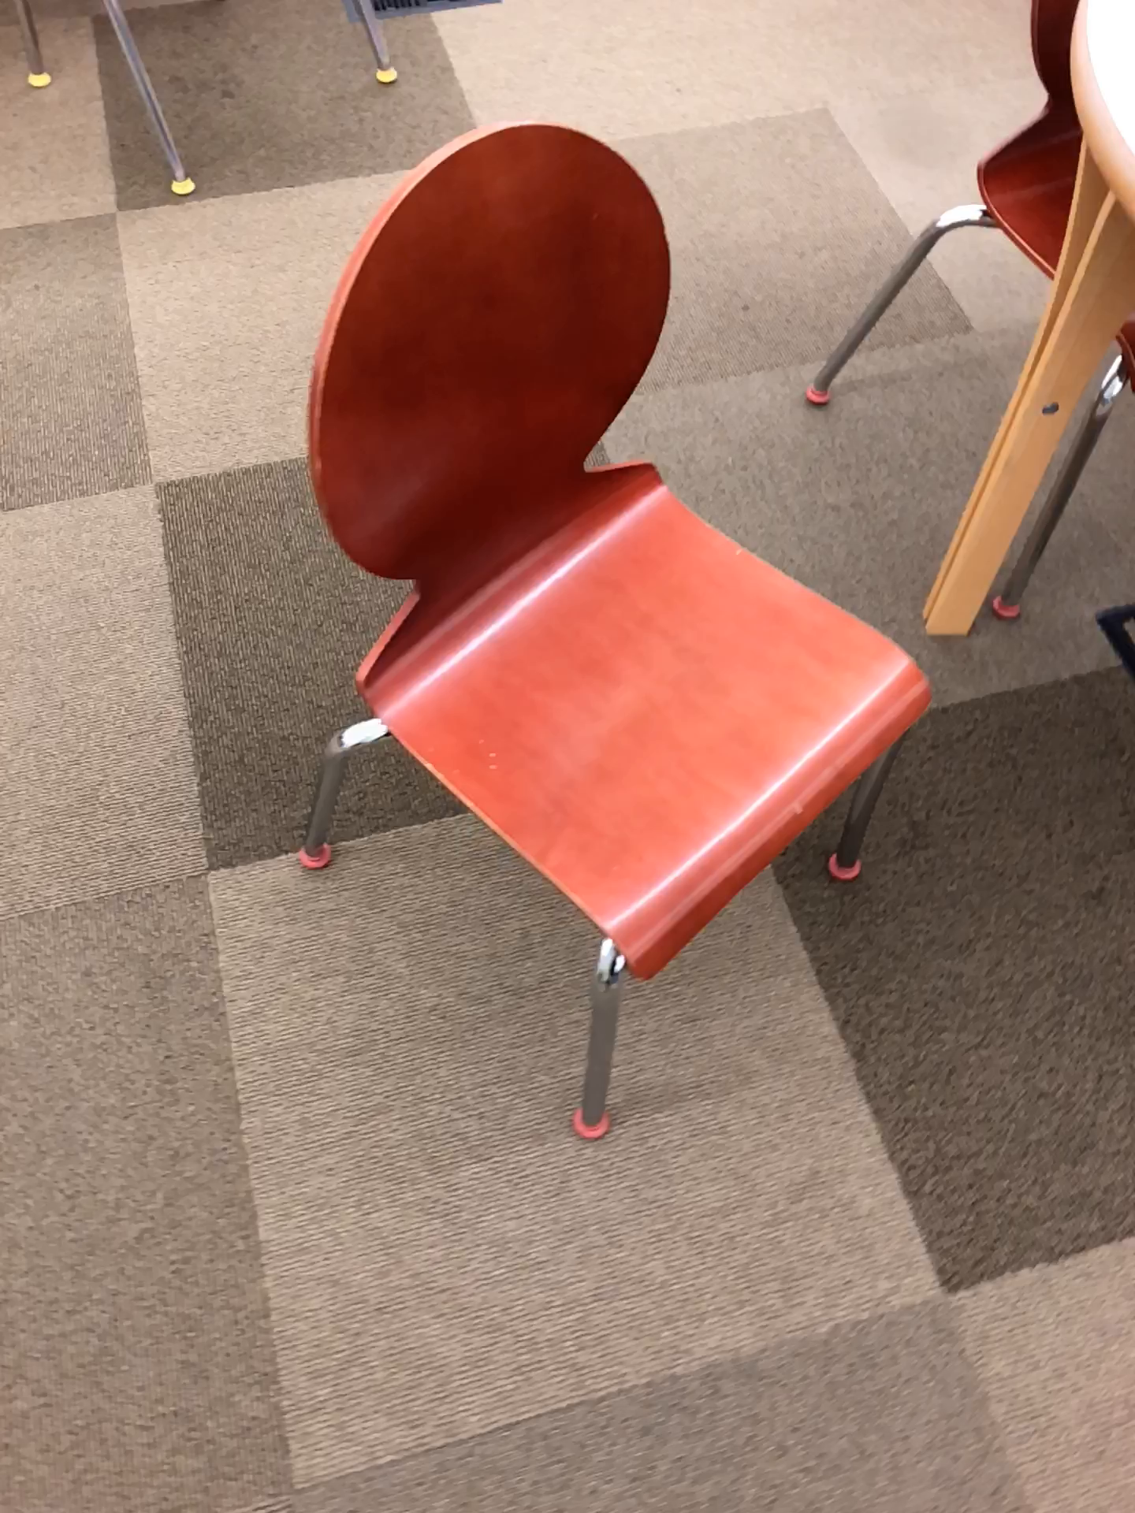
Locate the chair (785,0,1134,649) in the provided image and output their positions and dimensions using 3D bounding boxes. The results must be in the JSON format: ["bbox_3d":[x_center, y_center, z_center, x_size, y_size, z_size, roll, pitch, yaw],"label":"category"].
[{"bbox_3d":[0.644,-0.604,1.382,0.508,0.721,0.508,-19,60,-13],"label":"chair"}]

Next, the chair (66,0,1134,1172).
[{"bbox_3d":[0.035,-0.092,1.064,0.488,0.721,0.488,-40,66,-23],"label":"chair"}]
